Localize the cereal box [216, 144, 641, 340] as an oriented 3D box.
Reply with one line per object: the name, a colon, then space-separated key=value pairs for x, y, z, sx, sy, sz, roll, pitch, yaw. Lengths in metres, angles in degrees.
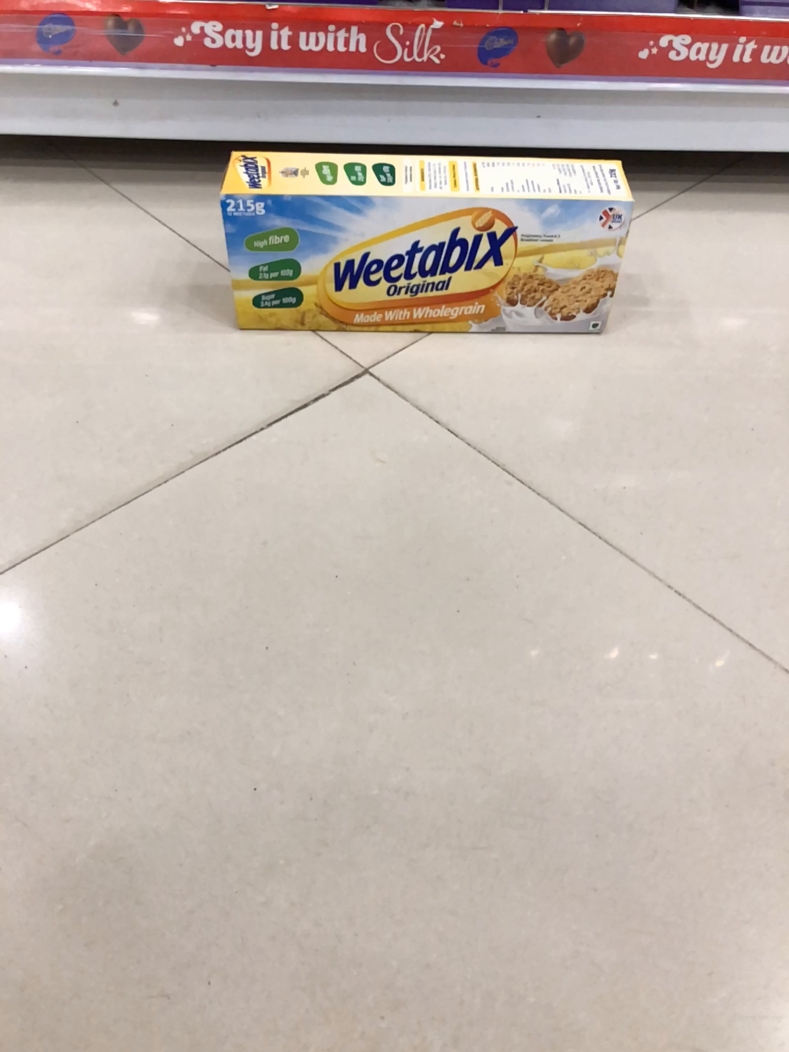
cereal box: x=0.019 y=-0.183 z=0.569 sx=0.250 sy=0.099 sz=0.060 roll=1 pitch=48 yaw=-2
